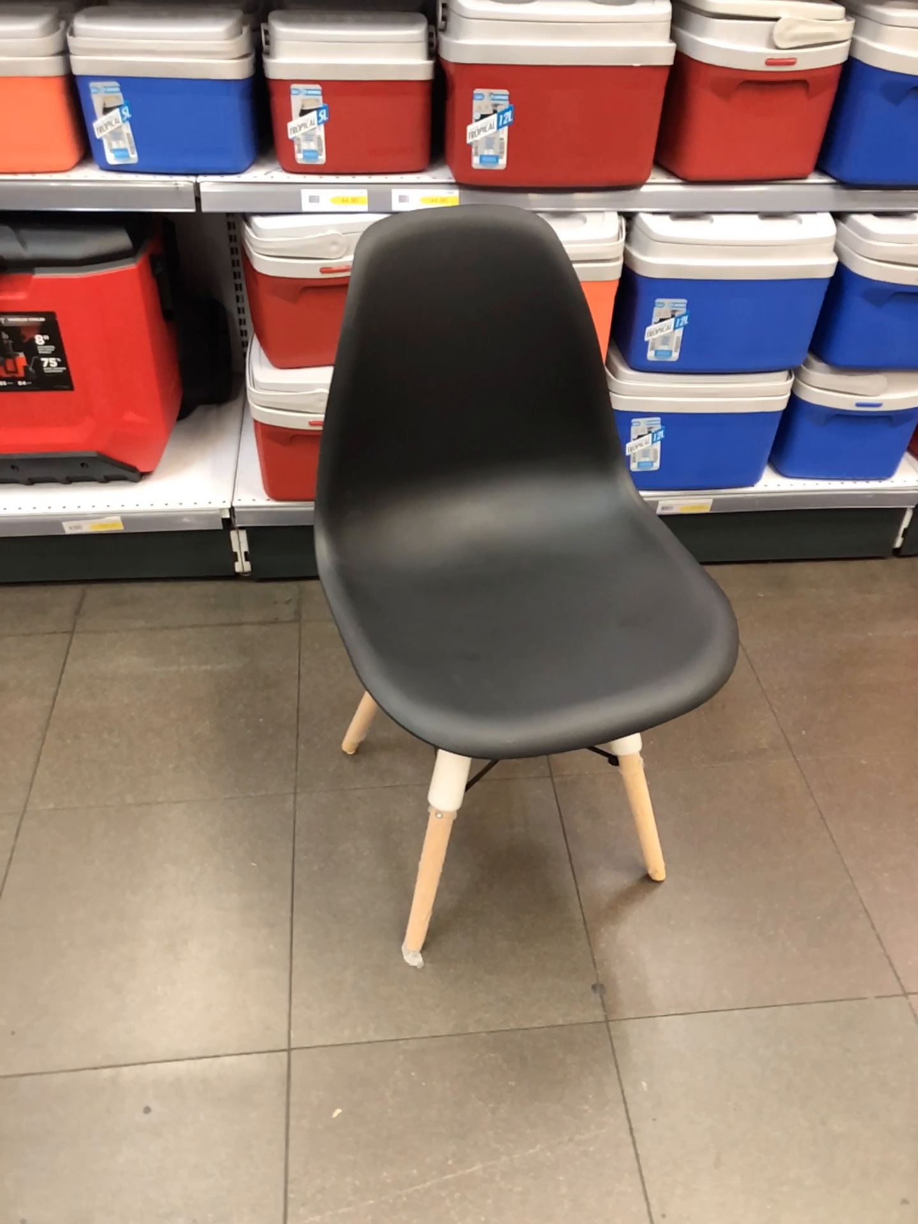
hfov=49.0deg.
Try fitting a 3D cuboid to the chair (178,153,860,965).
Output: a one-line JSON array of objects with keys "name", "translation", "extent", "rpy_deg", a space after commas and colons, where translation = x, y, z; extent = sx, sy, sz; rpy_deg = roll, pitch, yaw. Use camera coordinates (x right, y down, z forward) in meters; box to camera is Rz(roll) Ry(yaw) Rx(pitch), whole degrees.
[{"name": "chair", "translation": [0.012, -0.078, 1.238], "extent": [0.501, 0.724, 0.554], "rpy_deg": [-13, 43, -17]}]
